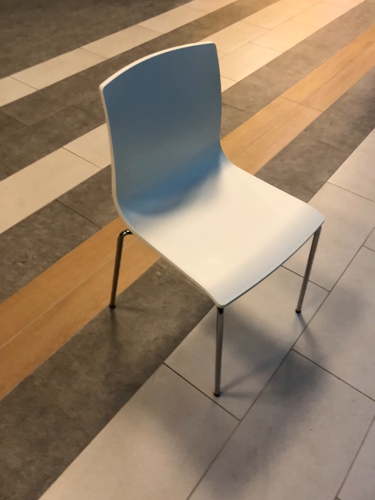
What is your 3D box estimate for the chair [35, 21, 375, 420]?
[{"bbox_3d":[0.081,-0.077,1.145,0.551,0.776,0.582,34,55,27],"label":"chair"}]
